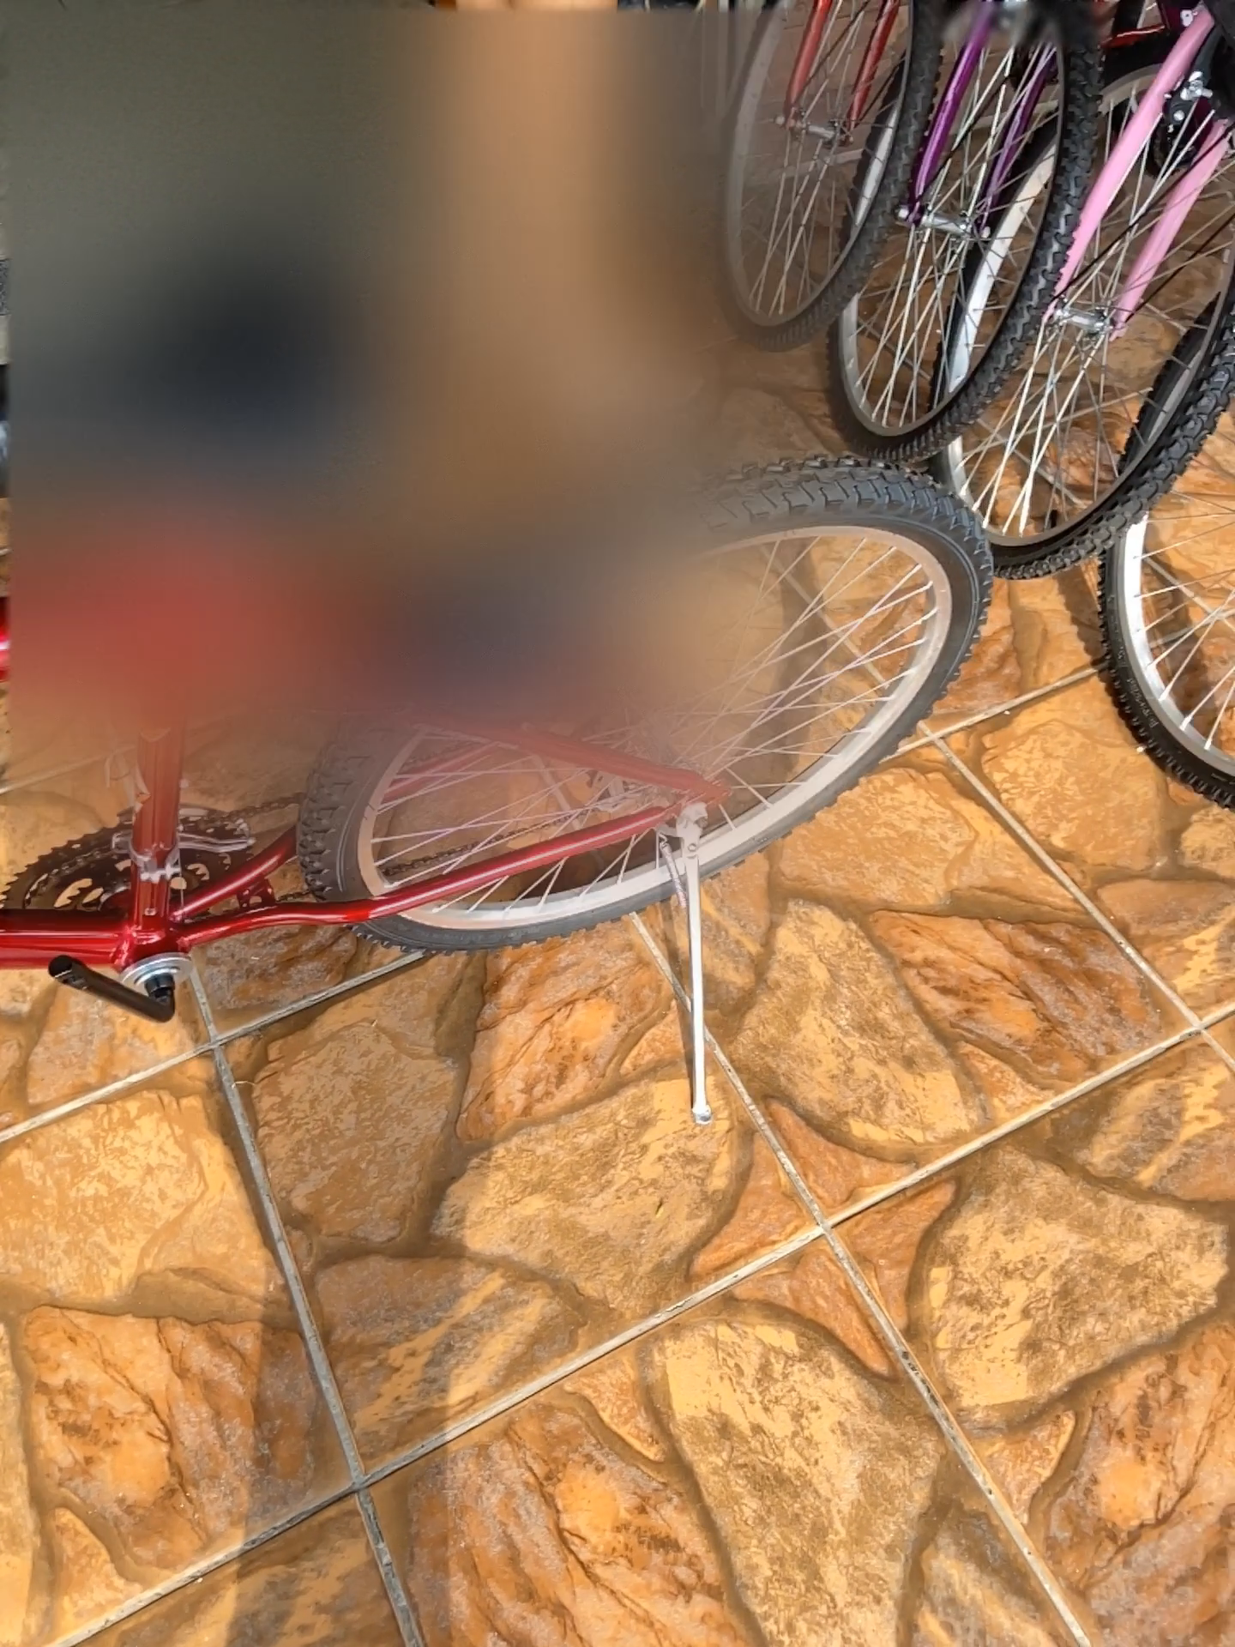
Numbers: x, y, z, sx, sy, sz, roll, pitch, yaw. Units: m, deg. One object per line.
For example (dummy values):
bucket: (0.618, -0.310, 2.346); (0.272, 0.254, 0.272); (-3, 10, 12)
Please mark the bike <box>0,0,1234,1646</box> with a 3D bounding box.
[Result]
bike: (-0.330, 0.156, 0.733); (1.559, 0.986, 0.600); (-29, 54, -17)
